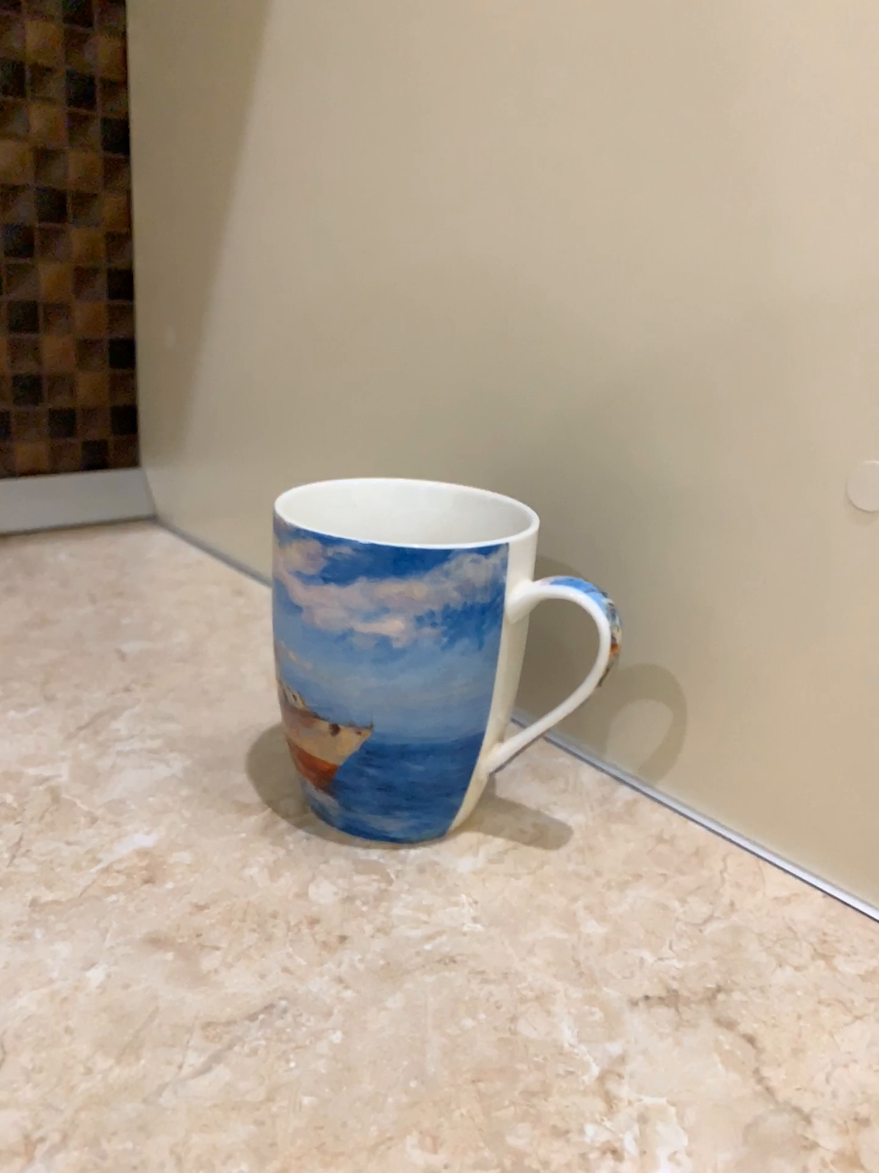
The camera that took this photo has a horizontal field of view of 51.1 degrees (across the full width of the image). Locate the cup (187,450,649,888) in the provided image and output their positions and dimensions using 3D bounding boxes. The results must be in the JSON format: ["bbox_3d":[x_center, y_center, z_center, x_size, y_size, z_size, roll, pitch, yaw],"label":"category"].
[{"bbox_3d":[-0.003,0.016,0.274,0.114,0.087,0.083,9,19,11],"label":"cup"}]
